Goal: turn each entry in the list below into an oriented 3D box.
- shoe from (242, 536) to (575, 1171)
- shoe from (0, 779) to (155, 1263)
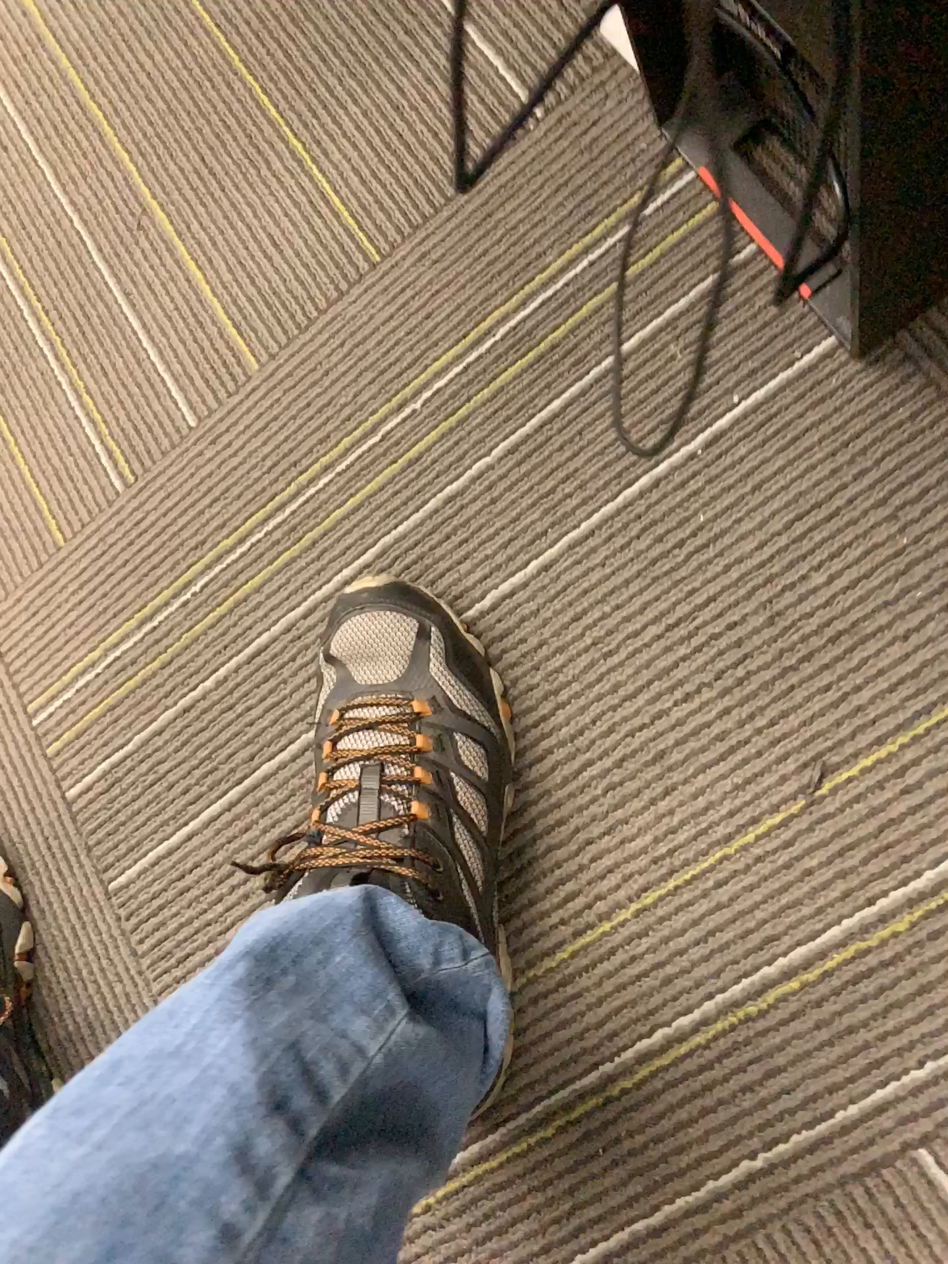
[{"bbox_3d":[-0.039,0.122,0.564,0.123,0.095,0.322,-12,80,19],"label":"shoe"},{"bbox_3d":[-0.357,0.277,0.668,0.125,0.095,0.323,-33,74,15],"label":"shoe"}]
